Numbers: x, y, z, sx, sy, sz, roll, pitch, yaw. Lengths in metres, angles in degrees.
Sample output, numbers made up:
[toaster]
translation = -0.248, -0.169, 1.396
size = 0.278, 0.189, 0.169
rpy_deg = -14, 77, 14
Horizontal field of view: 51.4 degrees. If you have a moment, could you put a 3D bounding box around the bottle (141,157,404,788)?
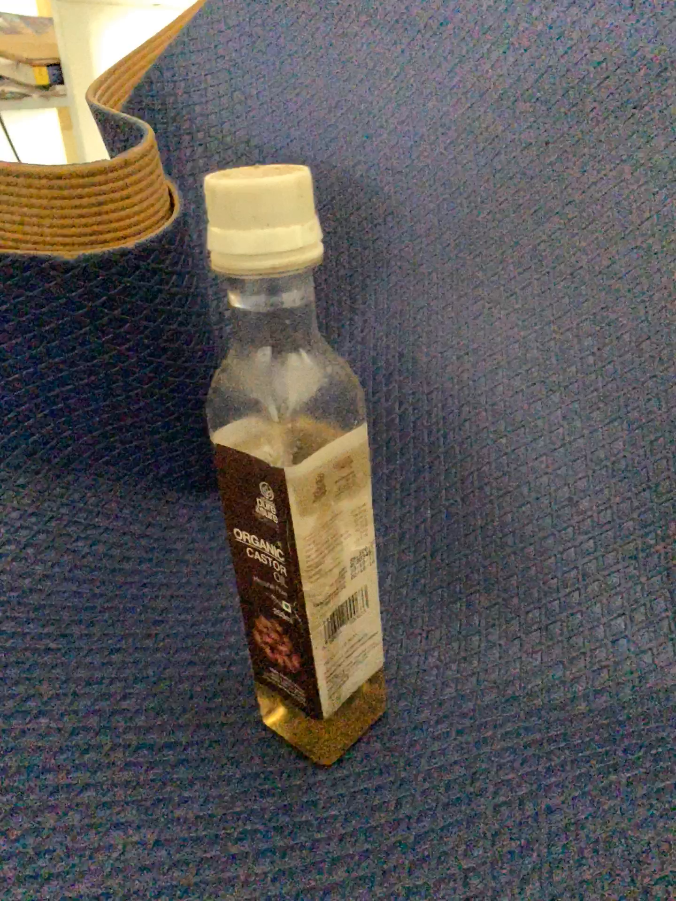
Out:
[bottle]
translation = -0.014, 0.012, 0.233
size = 0.050, 0.198, 0.050
rpy_deg = -2, 26, 1
